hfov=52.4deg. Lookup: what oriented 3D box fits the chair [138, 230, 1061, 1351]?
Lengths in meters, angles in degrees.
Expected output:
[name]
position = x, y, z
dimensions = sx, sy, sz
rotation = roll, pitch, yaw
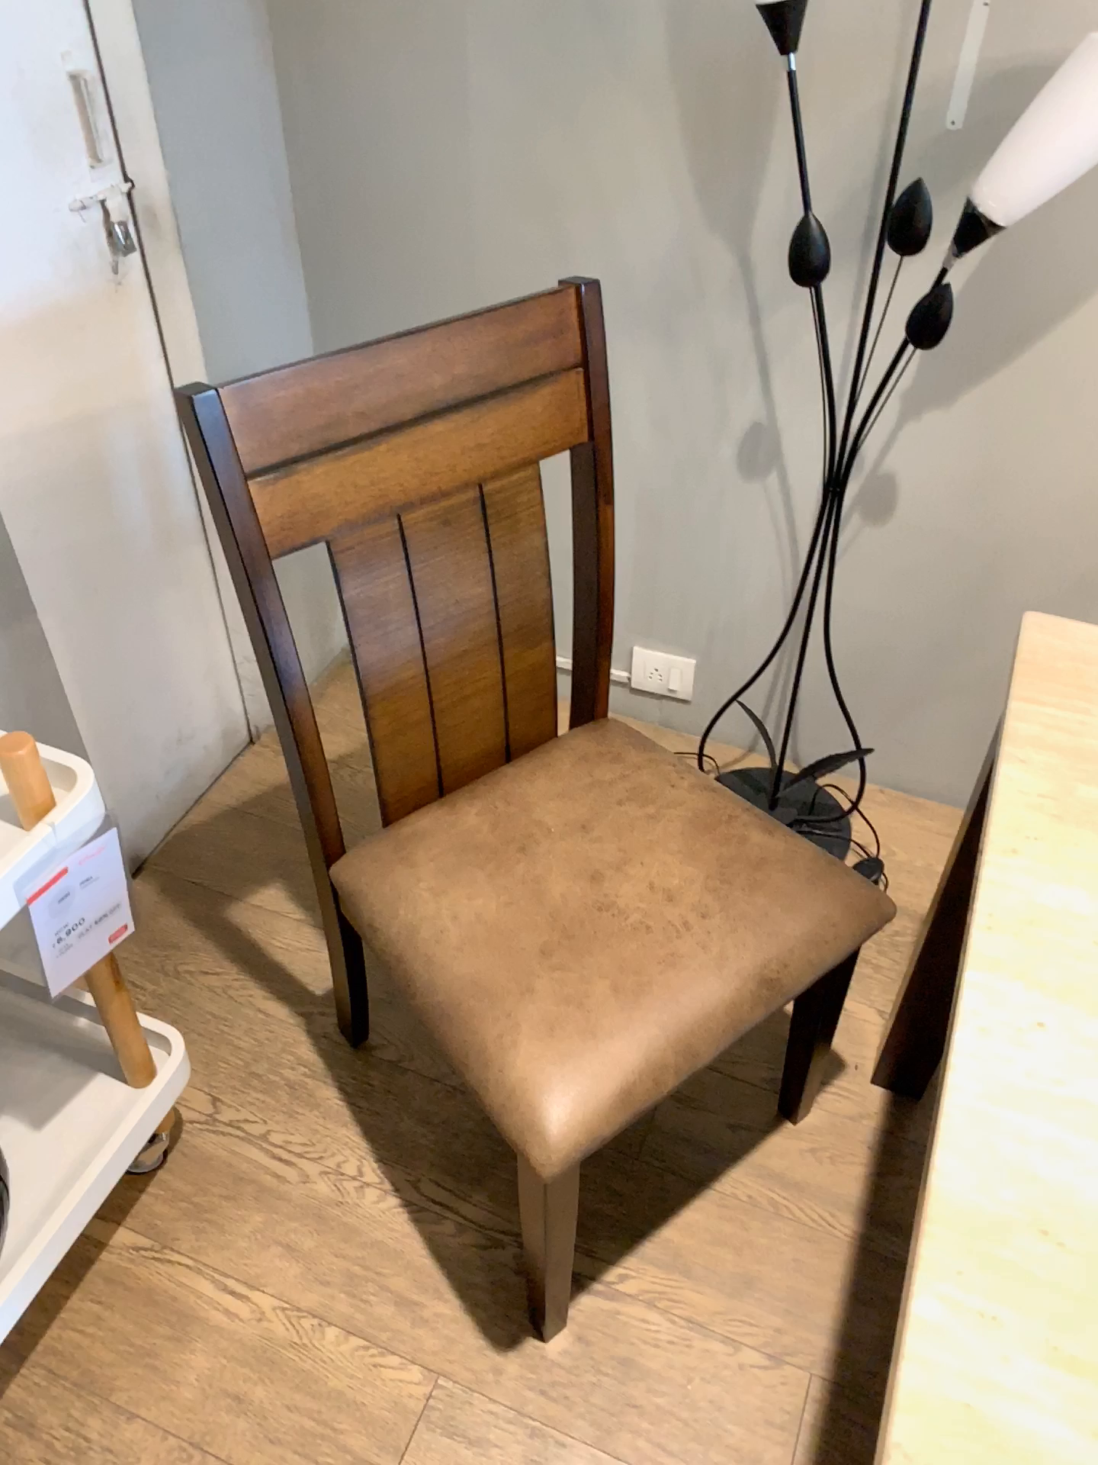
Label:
[chair]
position = 0.021, 0.089, 1.234
dimensions = 0.511, 0.996, 0.551
rotation = -28, 49, -29
